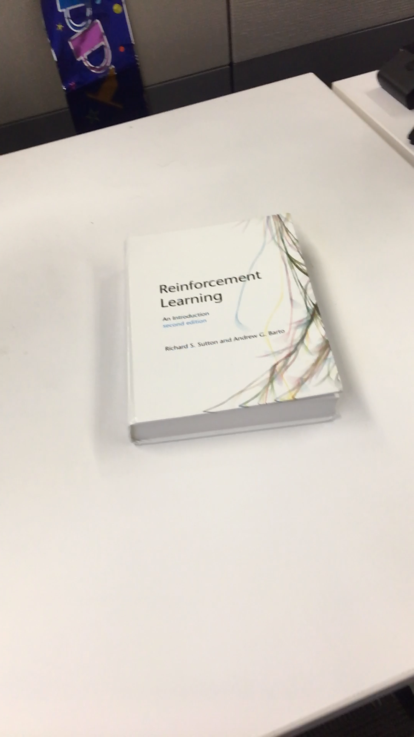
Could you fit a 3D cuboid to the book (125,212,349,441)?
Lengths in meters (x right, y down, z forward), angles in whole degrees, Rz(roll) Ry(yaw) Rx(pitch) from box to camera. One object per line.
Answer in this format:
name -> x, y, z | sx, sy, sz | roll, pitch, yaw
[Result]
book -> 0.015, -0.052, 0.581 | 0.180, 0.030, 0.240 | -7, 51, 0
